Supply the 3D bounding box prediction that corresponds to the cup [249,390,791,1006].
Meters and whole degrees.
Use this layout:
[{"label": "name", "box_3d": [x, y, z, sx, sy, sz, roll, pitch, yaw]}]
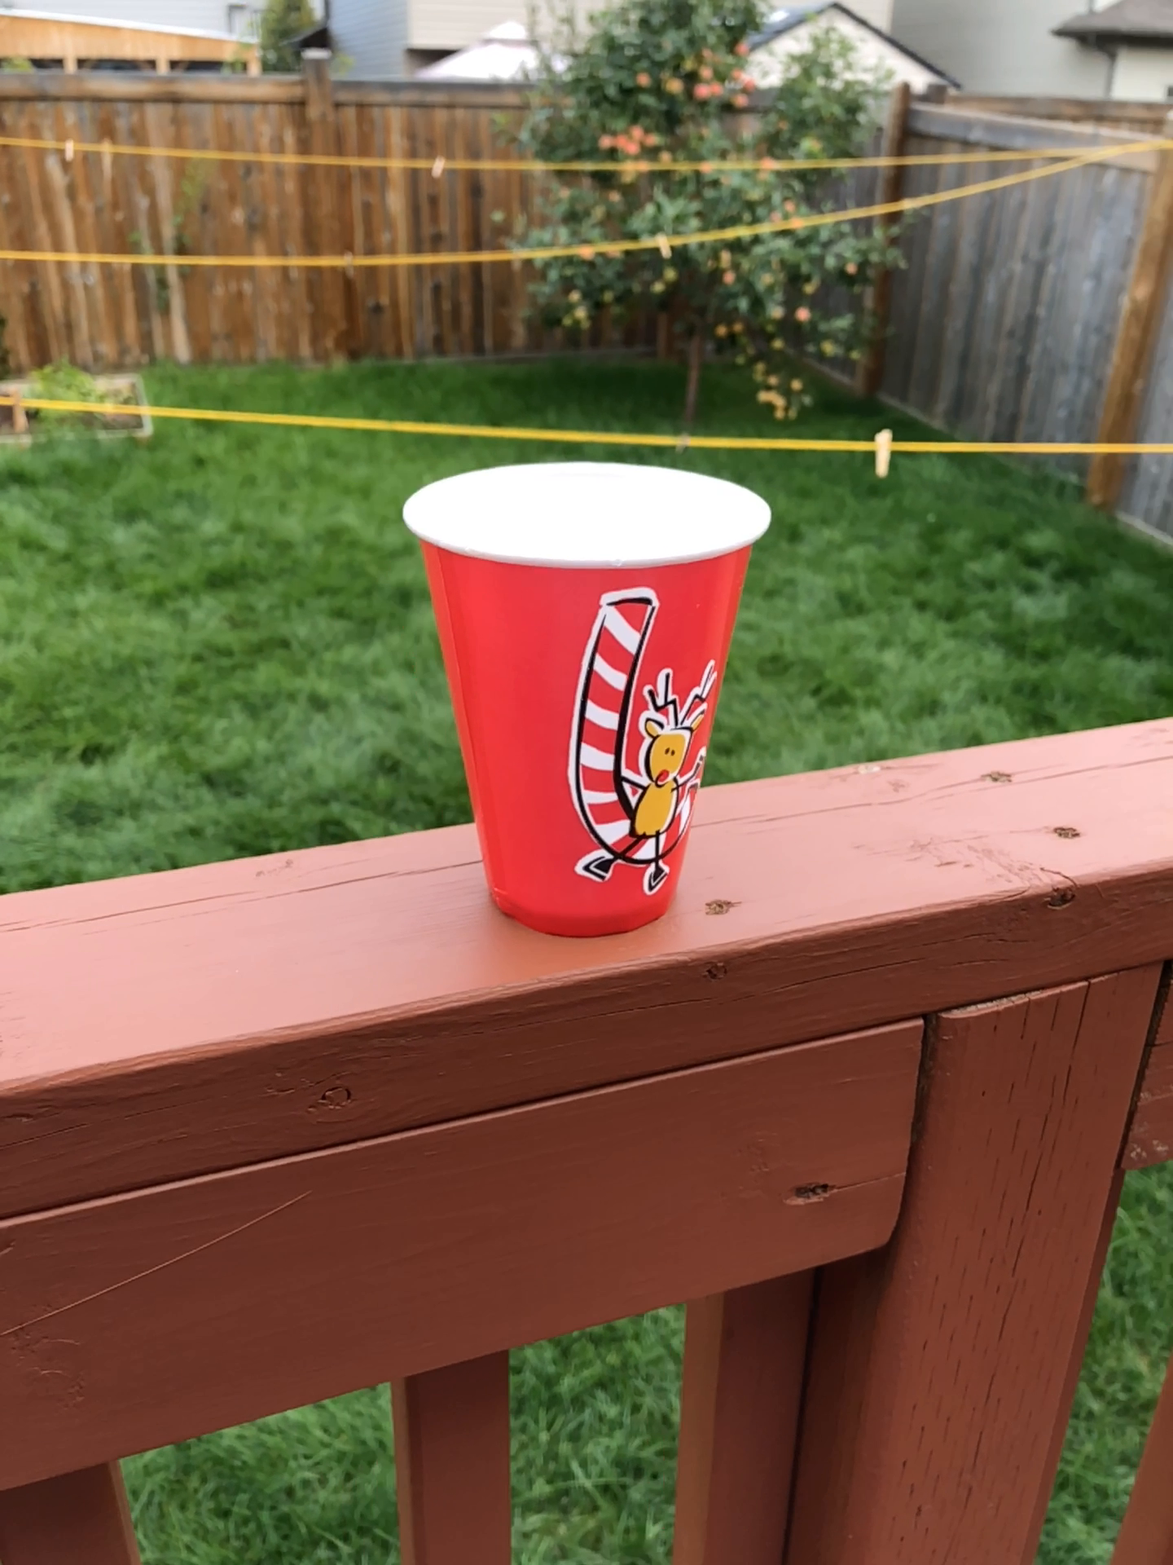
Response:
[{"label": "cup", "box_3d": [-0.016, -0.025, 0.290, 0.080, 0.100, 0.080, 1, 27, 0]}]
